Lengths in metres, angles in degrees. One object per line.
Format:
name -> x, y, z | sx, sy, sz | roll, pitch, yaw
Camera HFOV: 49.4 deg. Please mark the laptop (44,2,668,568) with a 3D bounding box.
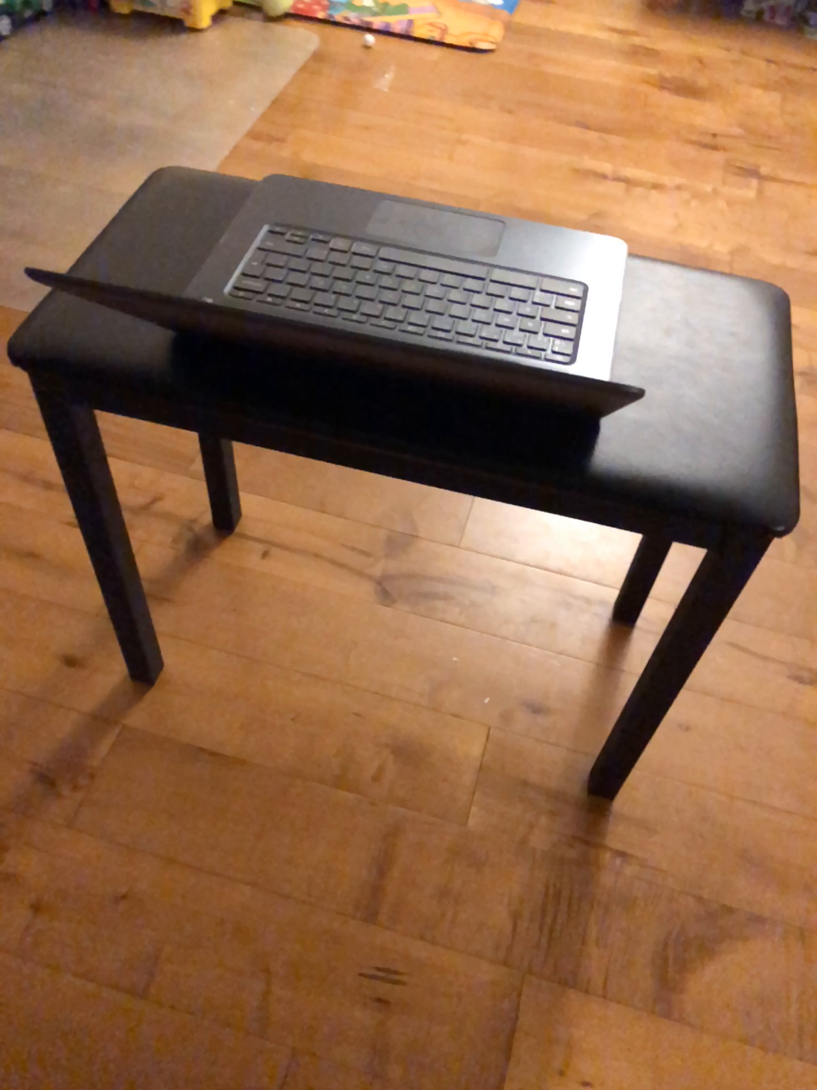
laptop -> -0.004, -0.204, 0.625 | 0.316, 0.143, 0.364 | 12, 53, 5
